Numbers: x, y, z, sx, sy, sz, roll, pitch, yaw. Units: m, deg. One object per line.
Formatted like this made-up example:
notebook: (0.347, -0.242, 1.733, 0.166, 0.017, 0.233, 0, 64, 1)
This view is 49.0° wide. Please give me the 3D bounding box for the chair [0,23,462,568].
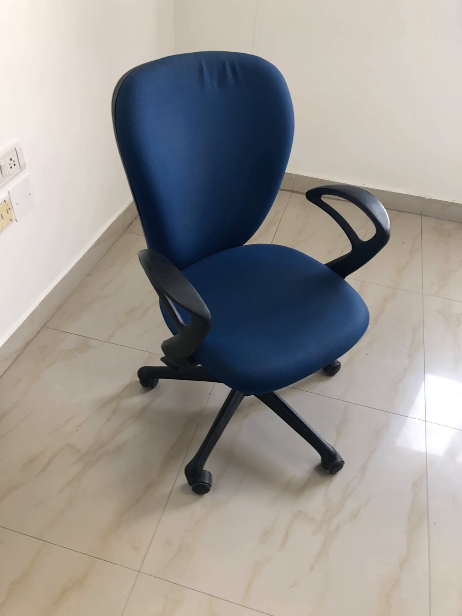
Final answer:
chair: (0.062, -0.057, 1.213, 0.701, 0.914, 0.653, 24, 44, 21)
